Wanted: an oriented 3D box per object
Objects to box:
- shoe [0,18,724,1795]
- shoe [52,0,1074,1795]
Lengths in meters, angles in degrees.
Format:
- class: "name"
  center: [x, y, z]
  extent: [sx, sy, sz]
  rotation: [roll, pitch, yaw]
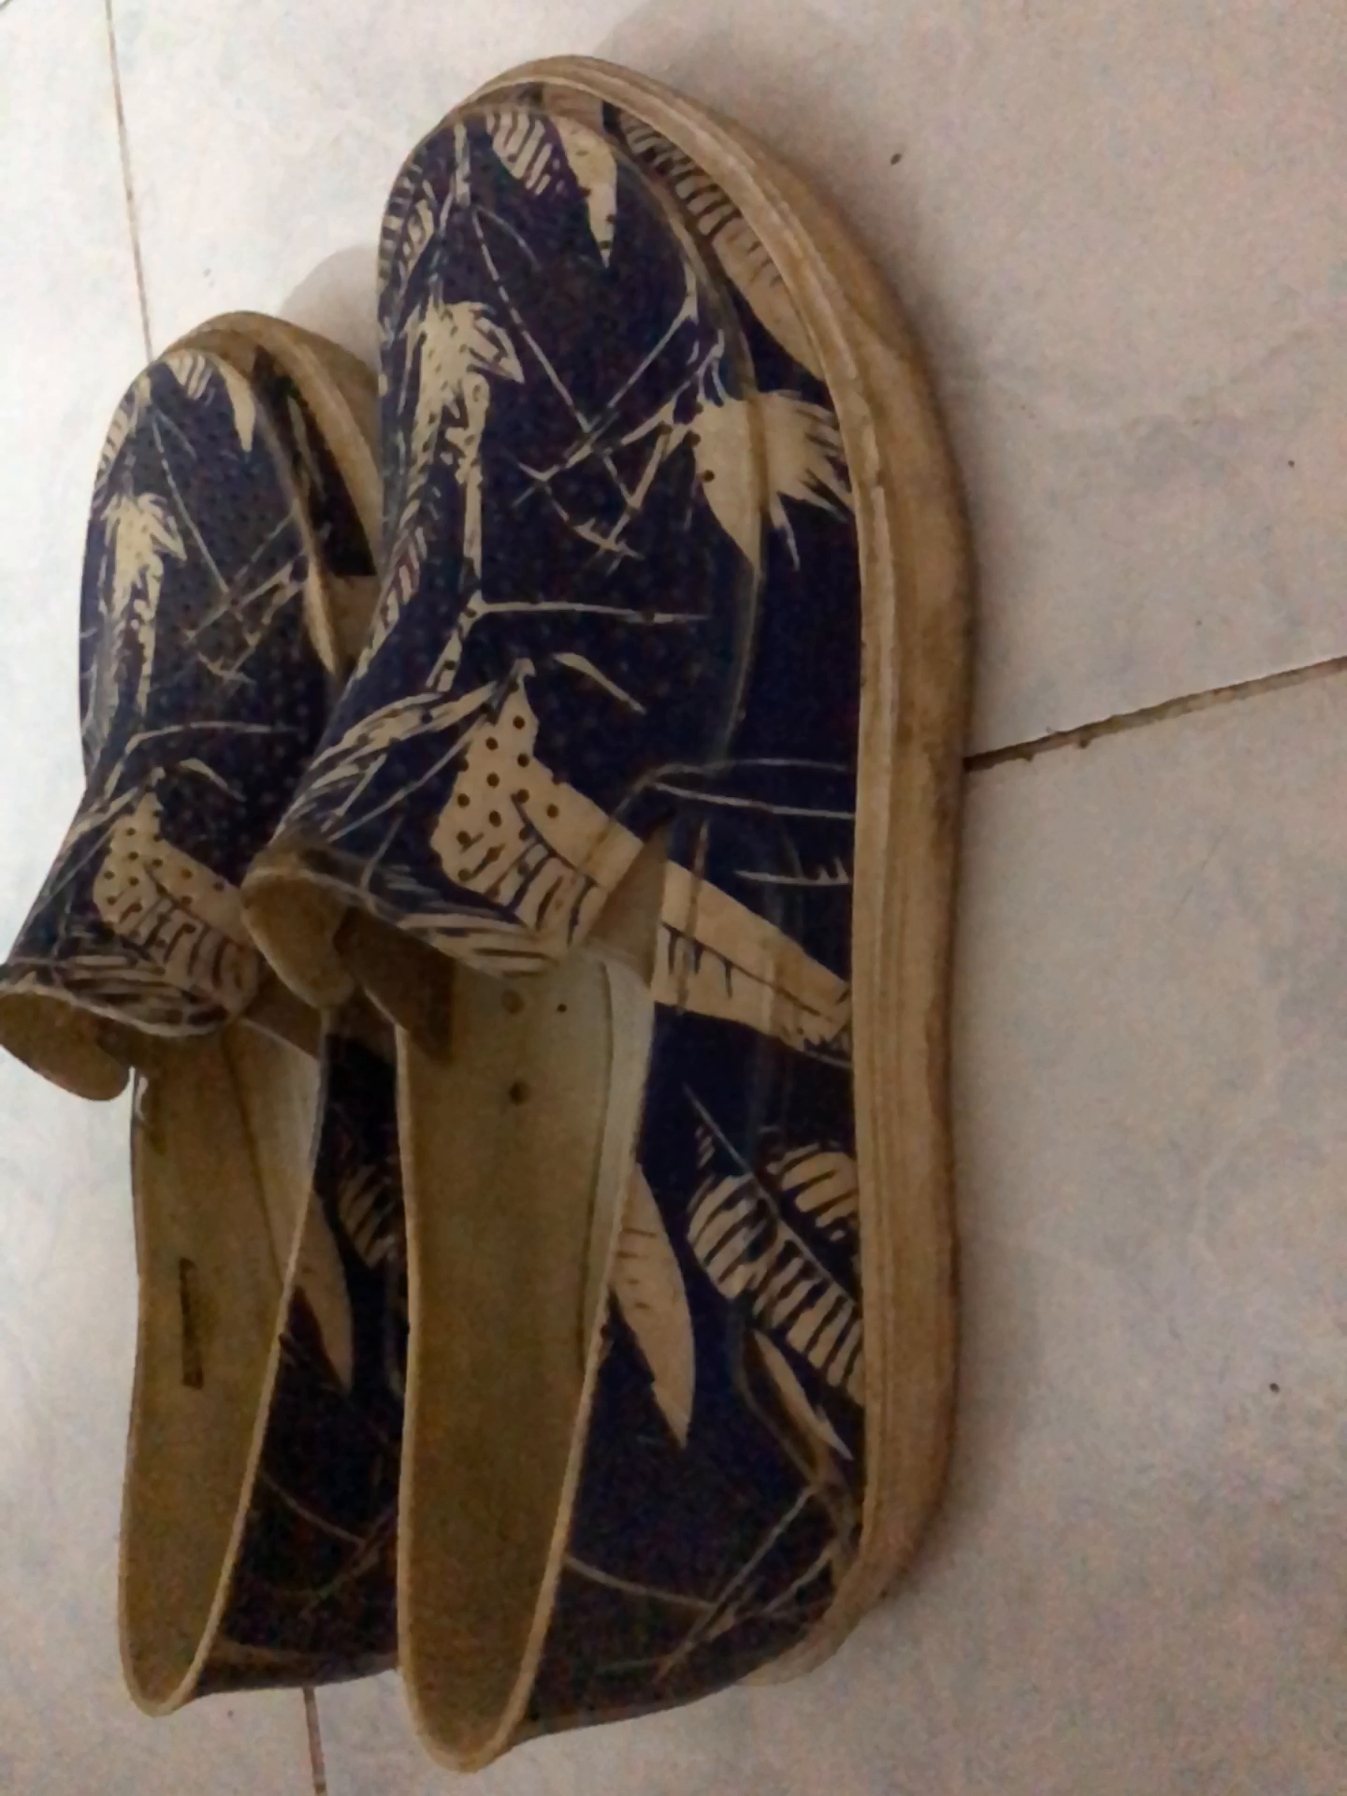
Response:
- class: "shoe"
  center: [-0.098, 0.007, 0.315]
  extent: [0.110, 0.100, 0.310]
  rotation: [-21, 77, 36]
- class: "shoe"
  center: [-0.024, -0.008, 0.253]
  extent: [0.110, 0.100, 0.300]
  rotation: [-9, 85, 46]
